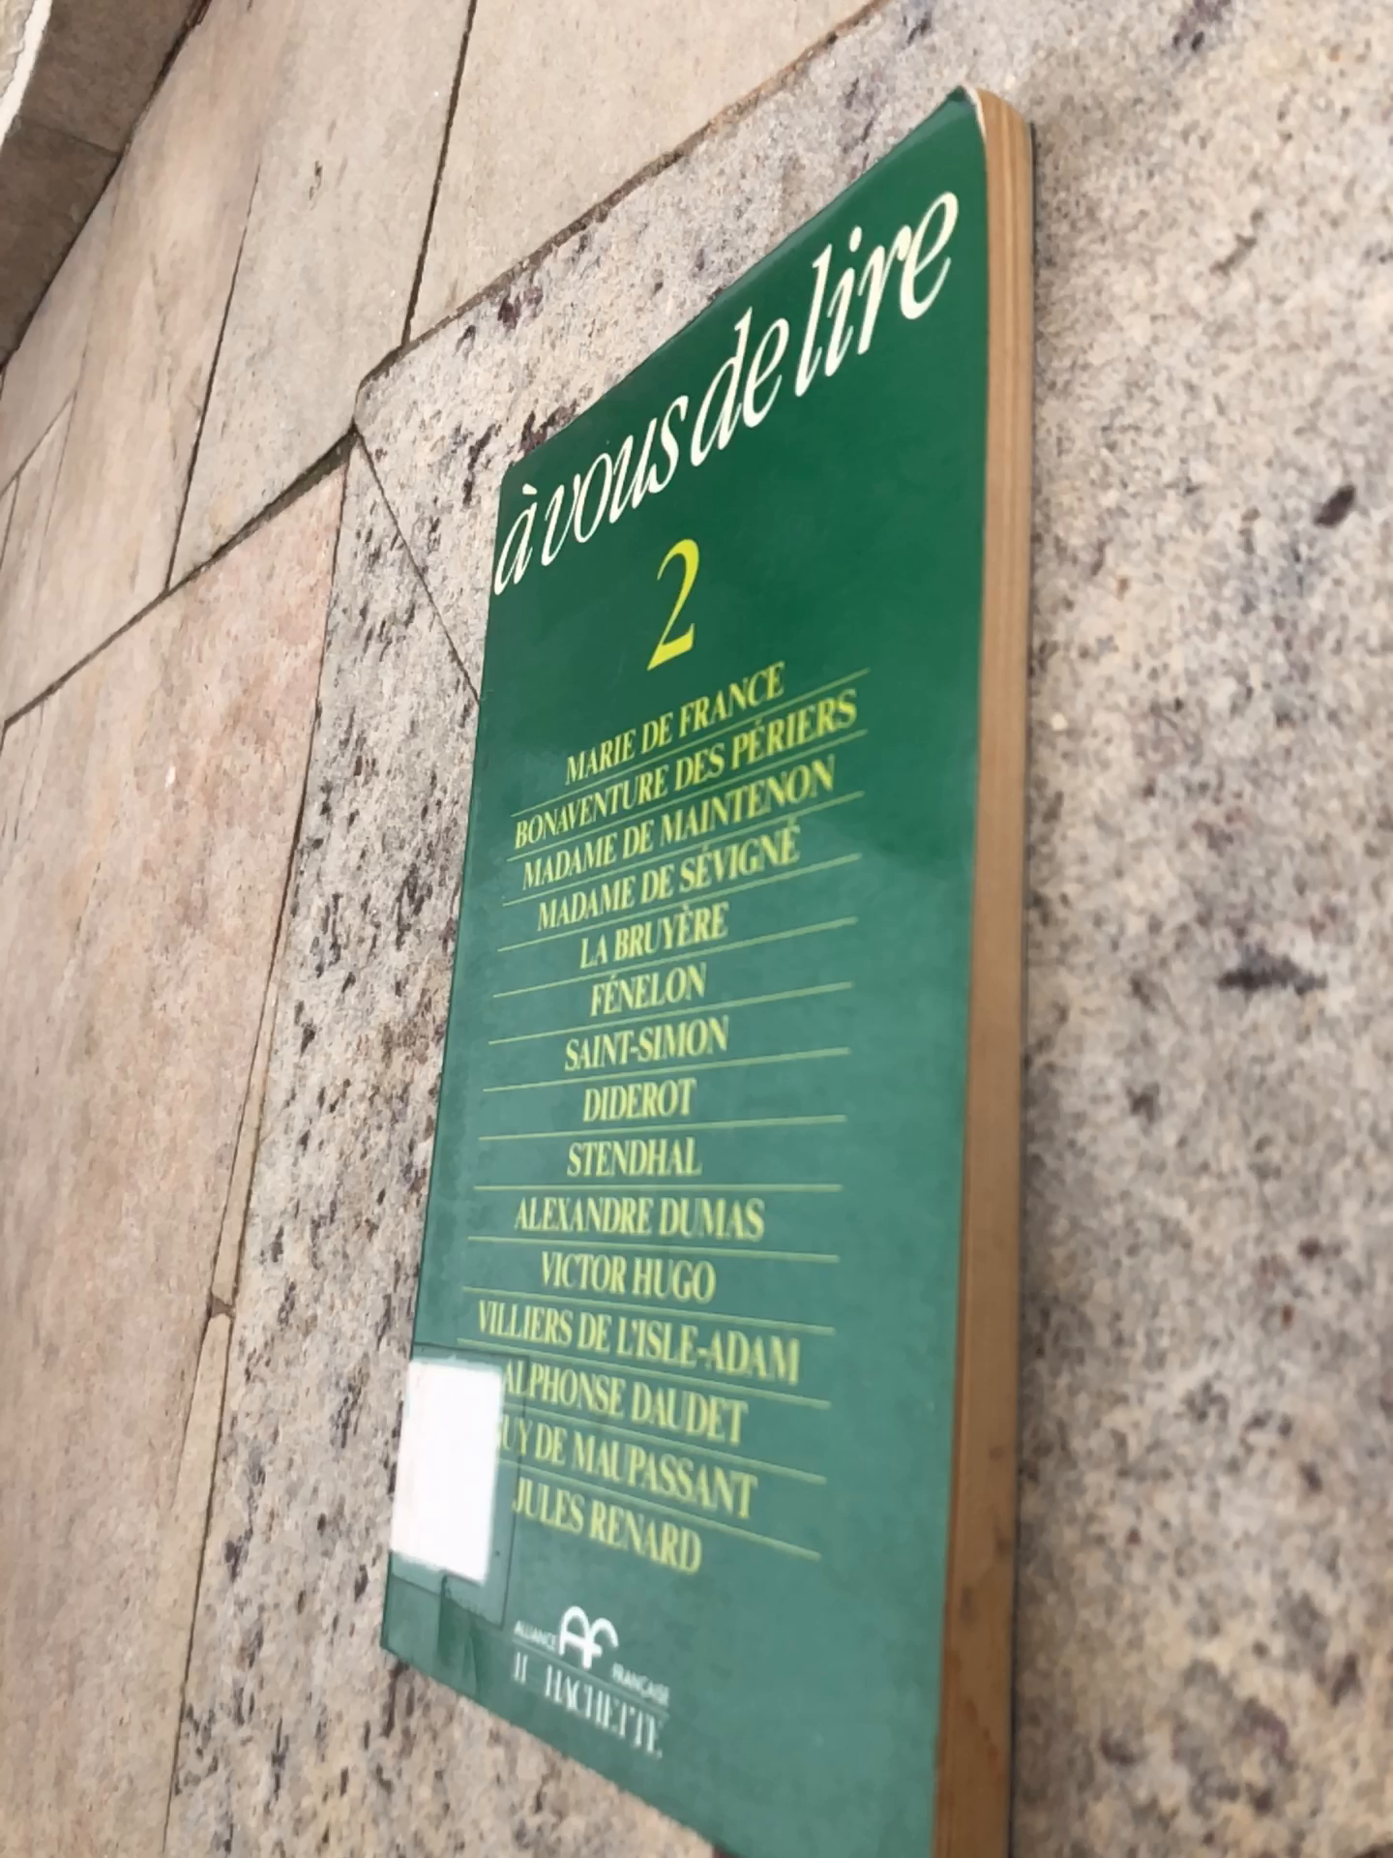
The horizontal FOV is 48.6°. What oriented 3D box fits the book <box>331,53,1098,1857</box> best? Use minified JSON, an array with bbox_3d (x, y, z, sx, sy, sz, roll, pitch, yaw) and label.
[{"bbox_3d":[-0.005,0.007,0.224,0.141,0.017,0.210,-15,66,56],"label":"book"}]
